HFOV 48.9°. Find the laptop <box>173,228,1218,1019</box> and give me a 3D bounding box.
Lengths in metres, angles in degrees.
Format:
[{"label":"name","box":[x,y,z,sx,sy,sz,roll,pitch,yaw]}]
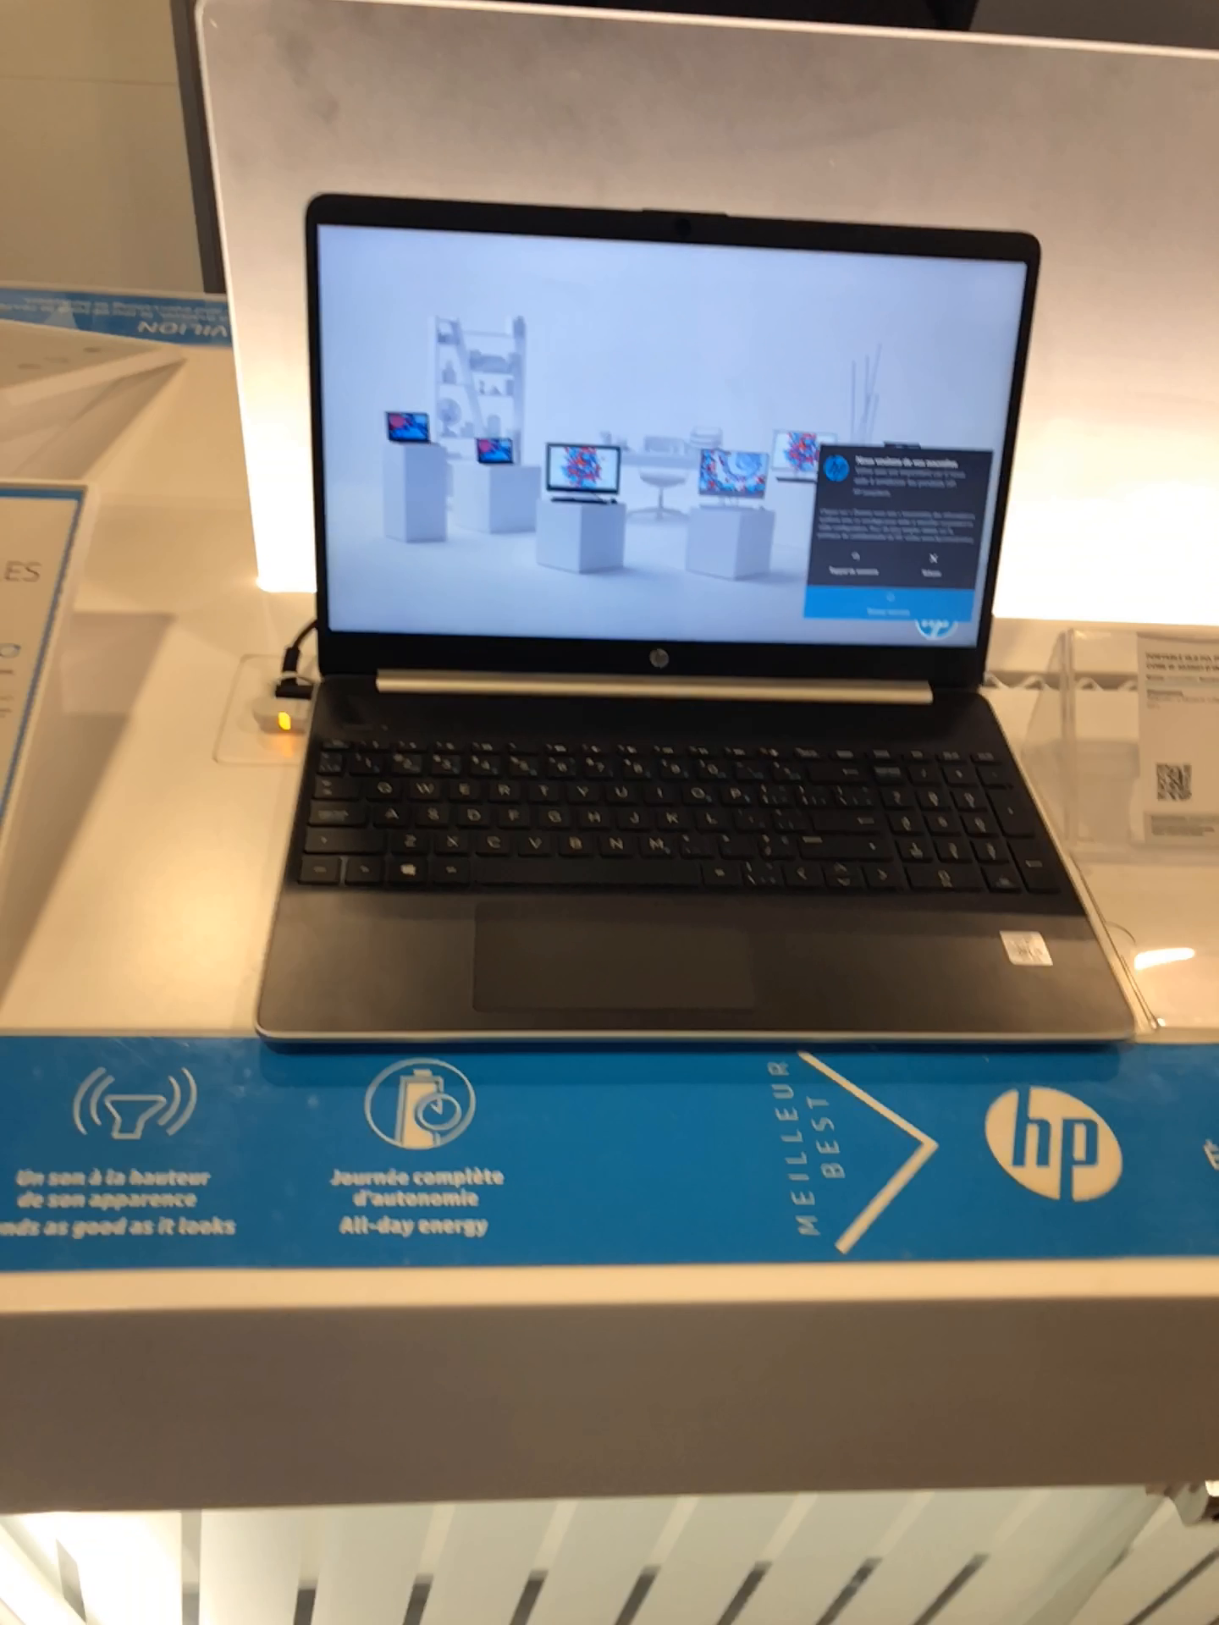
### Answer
[{"label":"laptop","box":[0.032,-0.096,0.578,0.336,0.206,0.317,1,38,-4]}]
